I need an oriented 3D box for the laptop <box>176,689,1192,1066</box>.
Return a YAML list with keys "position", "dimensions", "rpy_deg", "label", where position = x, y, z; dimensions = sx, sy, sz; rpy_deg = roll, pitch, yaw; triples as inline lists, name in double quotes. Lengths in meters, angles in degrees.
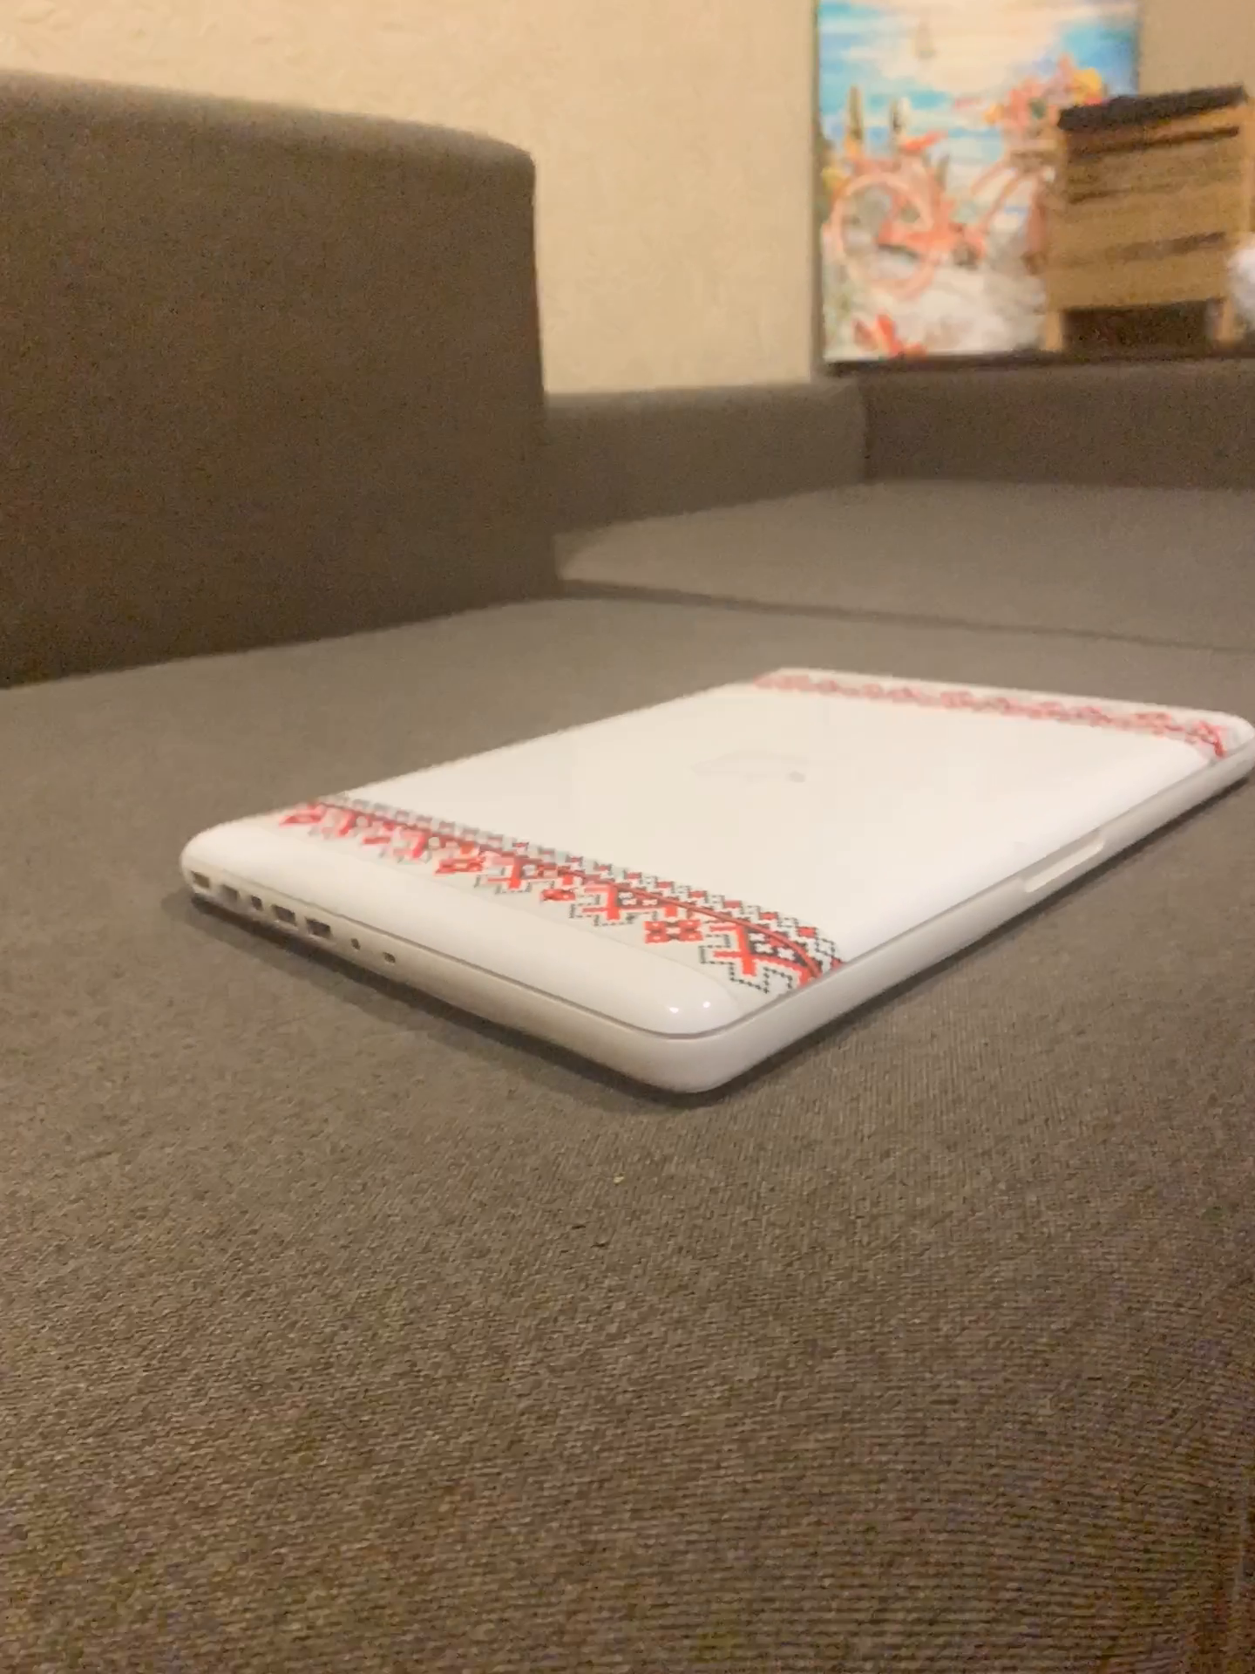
- position: [0.037, -0.012, 0.480]
  dimensions: [0.222, 0.003, 0.325]
  rpy_deg: [14, 24, 41]
  label: "laptop"
